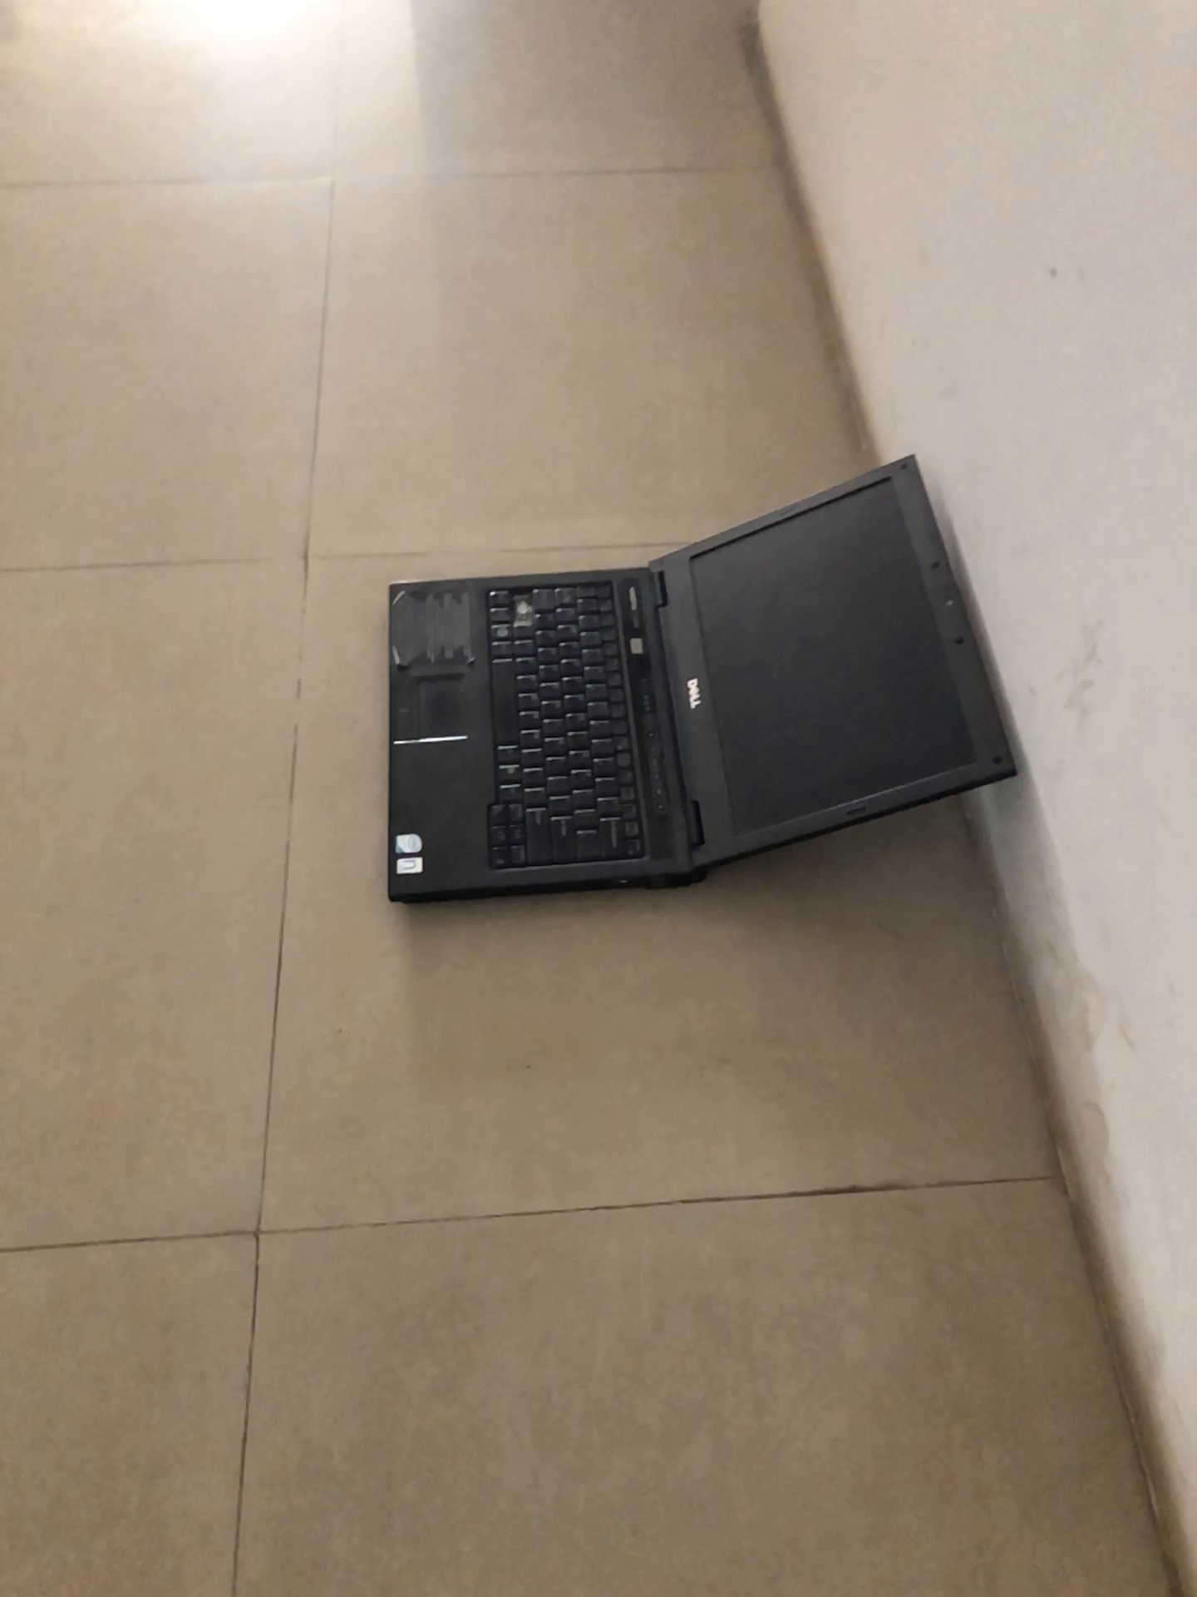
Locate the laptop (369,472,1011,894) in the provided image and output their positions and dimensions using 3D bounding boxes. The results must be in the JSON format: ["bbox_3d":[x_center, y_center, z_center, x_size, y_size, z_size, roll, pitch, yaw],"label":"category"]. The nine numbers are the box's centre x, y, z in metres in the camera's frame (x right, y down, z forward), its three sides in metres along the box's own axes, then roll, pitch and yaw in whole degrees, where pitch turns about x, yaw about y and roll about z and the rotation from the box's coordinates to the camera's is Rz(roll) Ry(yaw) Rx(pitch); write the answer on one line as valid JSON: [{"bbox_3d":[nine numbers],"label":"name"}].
[{"bbox_3d":[0.051,-0.097,1.011,0.432,0.114,0.300,-3,55,-3],"label":"laptop"}]
